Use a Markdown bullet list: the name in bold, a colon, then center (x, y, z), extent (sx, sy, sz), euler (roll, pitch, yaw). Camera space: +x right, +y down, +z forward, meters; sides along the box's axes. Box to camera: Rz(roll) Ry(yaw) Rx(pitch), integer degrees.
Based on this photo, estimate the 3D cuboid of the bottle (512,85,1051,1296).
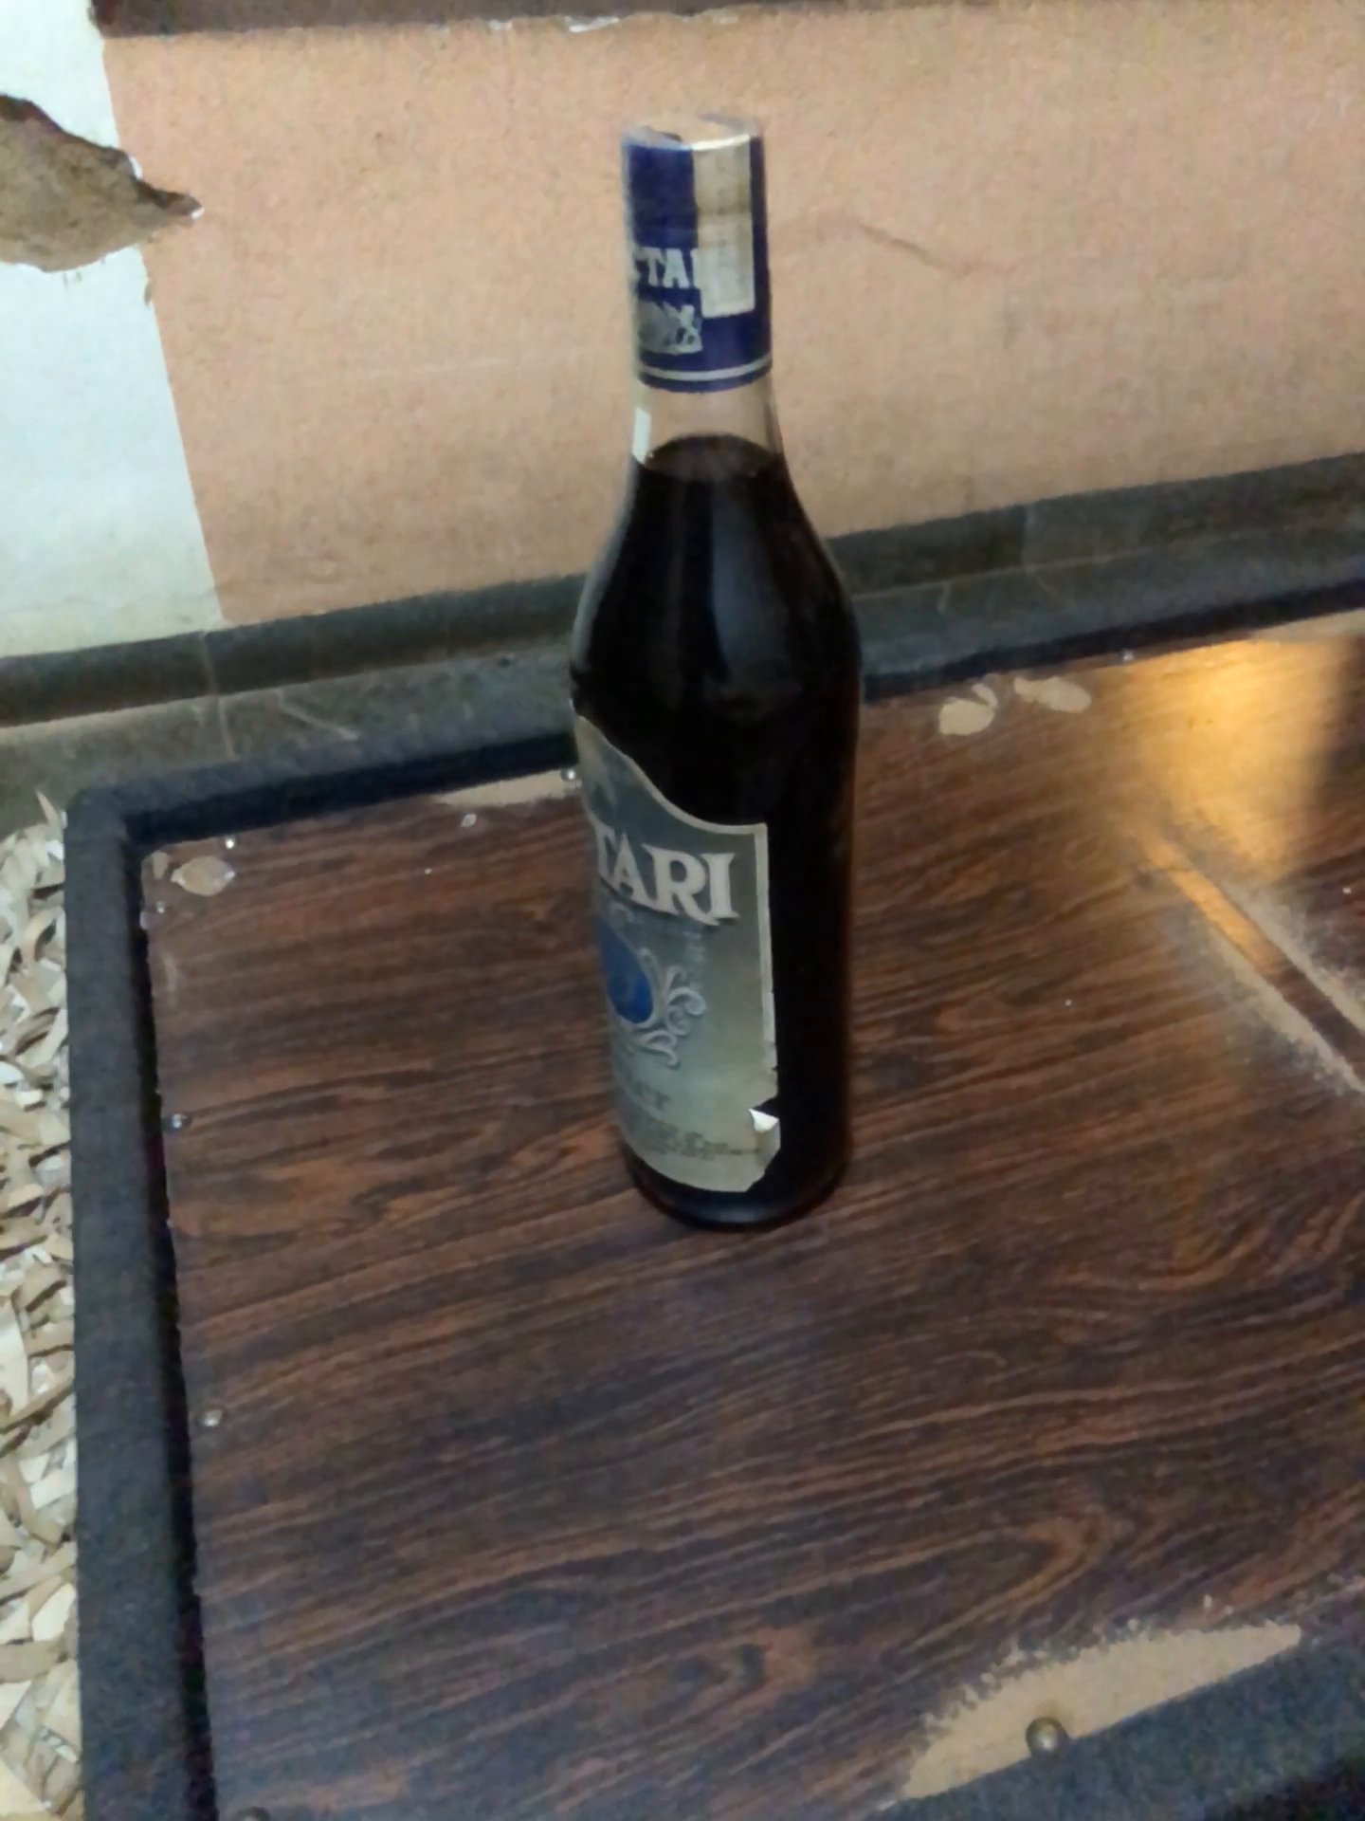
- **bottle**: center (0.019, -0.040, 0.409), extent (0.080, 0.308, 0.091), euler (-16, 40, -19)
